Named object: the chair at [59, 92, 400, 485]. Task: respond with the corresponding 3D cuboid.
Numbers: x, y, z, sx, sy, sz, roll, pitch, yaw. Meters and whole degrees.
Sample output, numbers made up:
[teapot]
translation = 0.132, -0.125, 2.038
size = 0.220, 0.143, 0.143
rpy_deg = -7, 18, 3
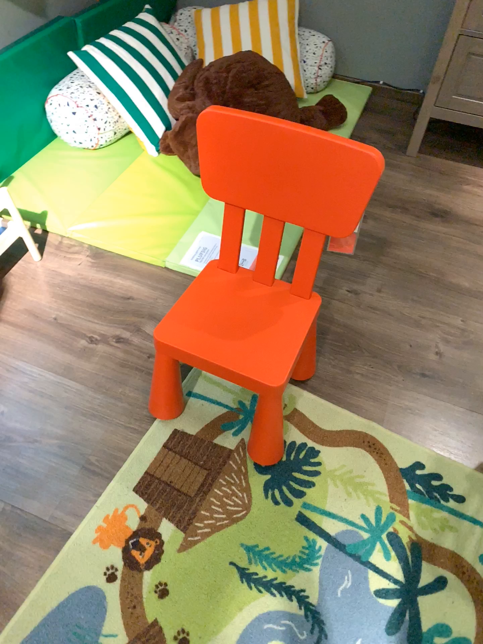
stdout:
[chair]
translation = 0.000, -0.063, 1.087
size = 0.430, 0.598, 0.491
rpy_deg = 20, 51, 13
